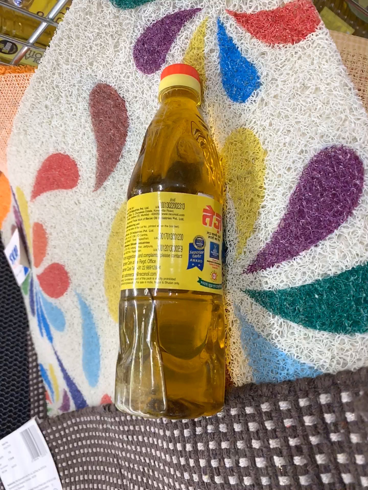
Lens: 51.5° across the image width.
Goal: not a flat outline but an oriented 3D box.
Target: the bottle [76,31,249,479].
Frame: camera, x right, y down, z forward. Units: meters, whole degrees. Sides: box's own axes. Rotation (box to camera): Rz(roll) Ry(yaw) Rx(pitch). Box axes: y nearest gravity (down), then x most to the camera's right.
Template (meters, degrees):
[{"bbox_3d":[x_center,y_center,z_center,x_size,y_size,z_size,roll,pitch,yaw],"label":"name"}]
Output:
[{"bbox_3d":[-0.011,0.003,0.215,0.071,0.060,0.200,-5,81,39],"label":"bottle"}]
